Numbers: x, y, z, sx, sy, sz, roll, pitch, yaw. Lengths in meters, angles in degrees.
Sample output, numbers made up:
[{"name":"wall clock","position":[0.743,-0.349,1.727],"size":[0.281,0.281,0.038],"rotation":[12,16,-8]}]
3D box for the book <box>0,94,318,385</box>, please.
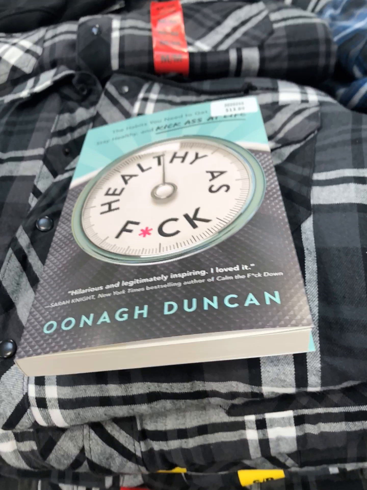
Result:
[{"name":"book","position":[-0.014,-0.027,0.288],"size":[0.156,0.028,0.238],"rotation":[-7,44,7]}]
